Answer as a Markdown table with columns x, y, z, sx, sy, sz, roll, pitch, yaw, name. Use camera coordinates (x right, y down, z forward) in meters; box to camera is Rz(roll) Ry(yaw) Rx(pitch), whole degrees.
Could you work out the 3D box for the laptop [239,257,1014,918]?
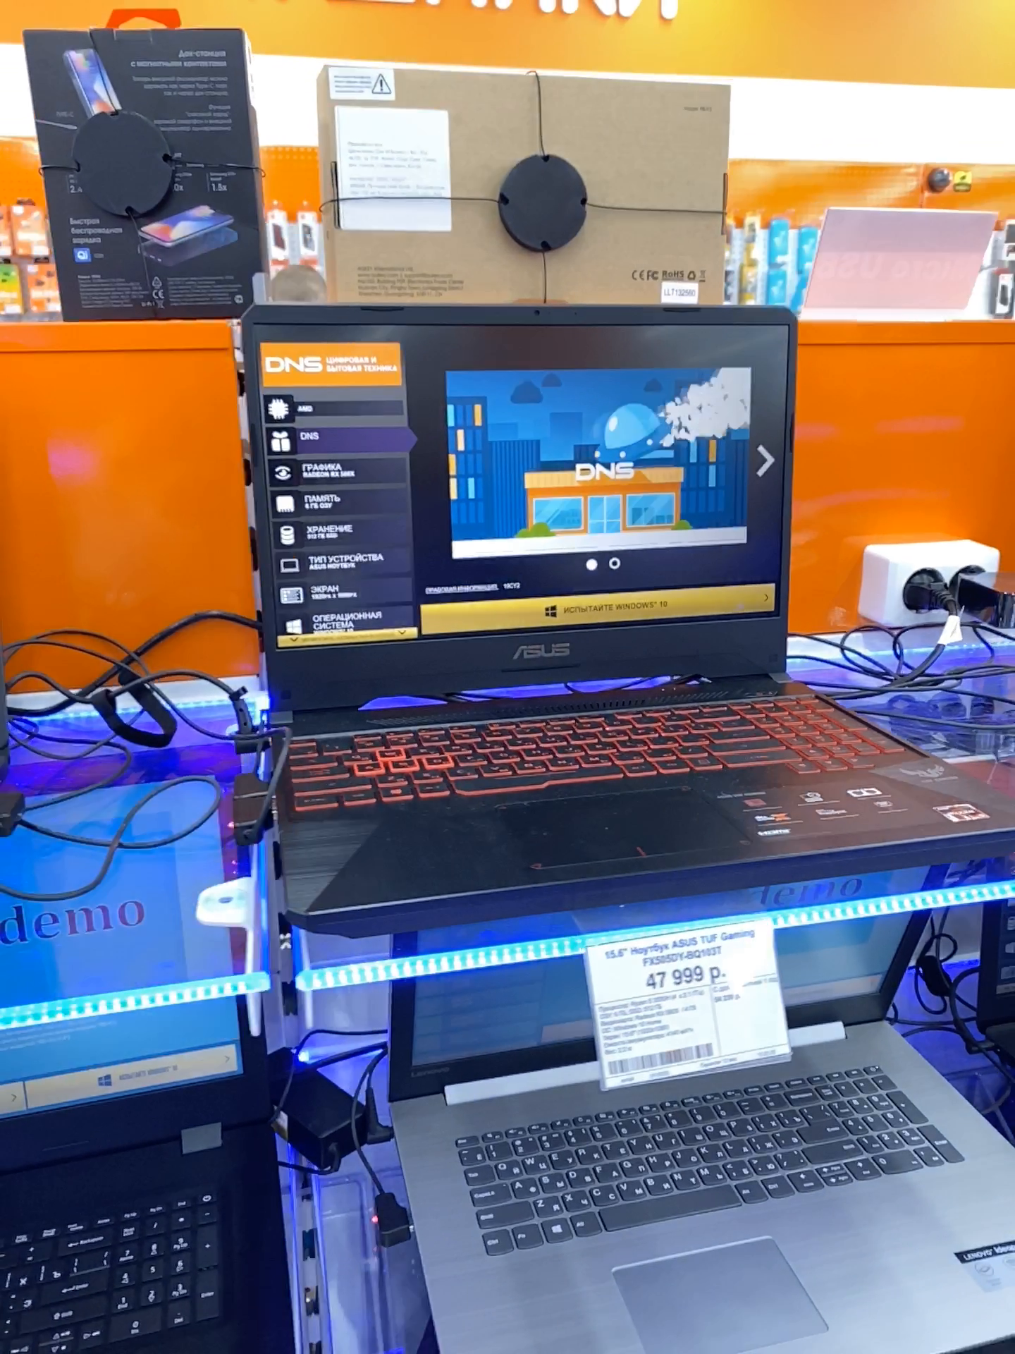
| x | y | z | sx | sy | sz | roll | pitch | yaw | name |
| --- | --- | --- | --- | --- | --- | --- | --- | --- | --- |
| 0.051 | -0.073 | 0.560 | 0.359 | 0.248 | 0.287 | -4 | 16 | -13 | laptop |
